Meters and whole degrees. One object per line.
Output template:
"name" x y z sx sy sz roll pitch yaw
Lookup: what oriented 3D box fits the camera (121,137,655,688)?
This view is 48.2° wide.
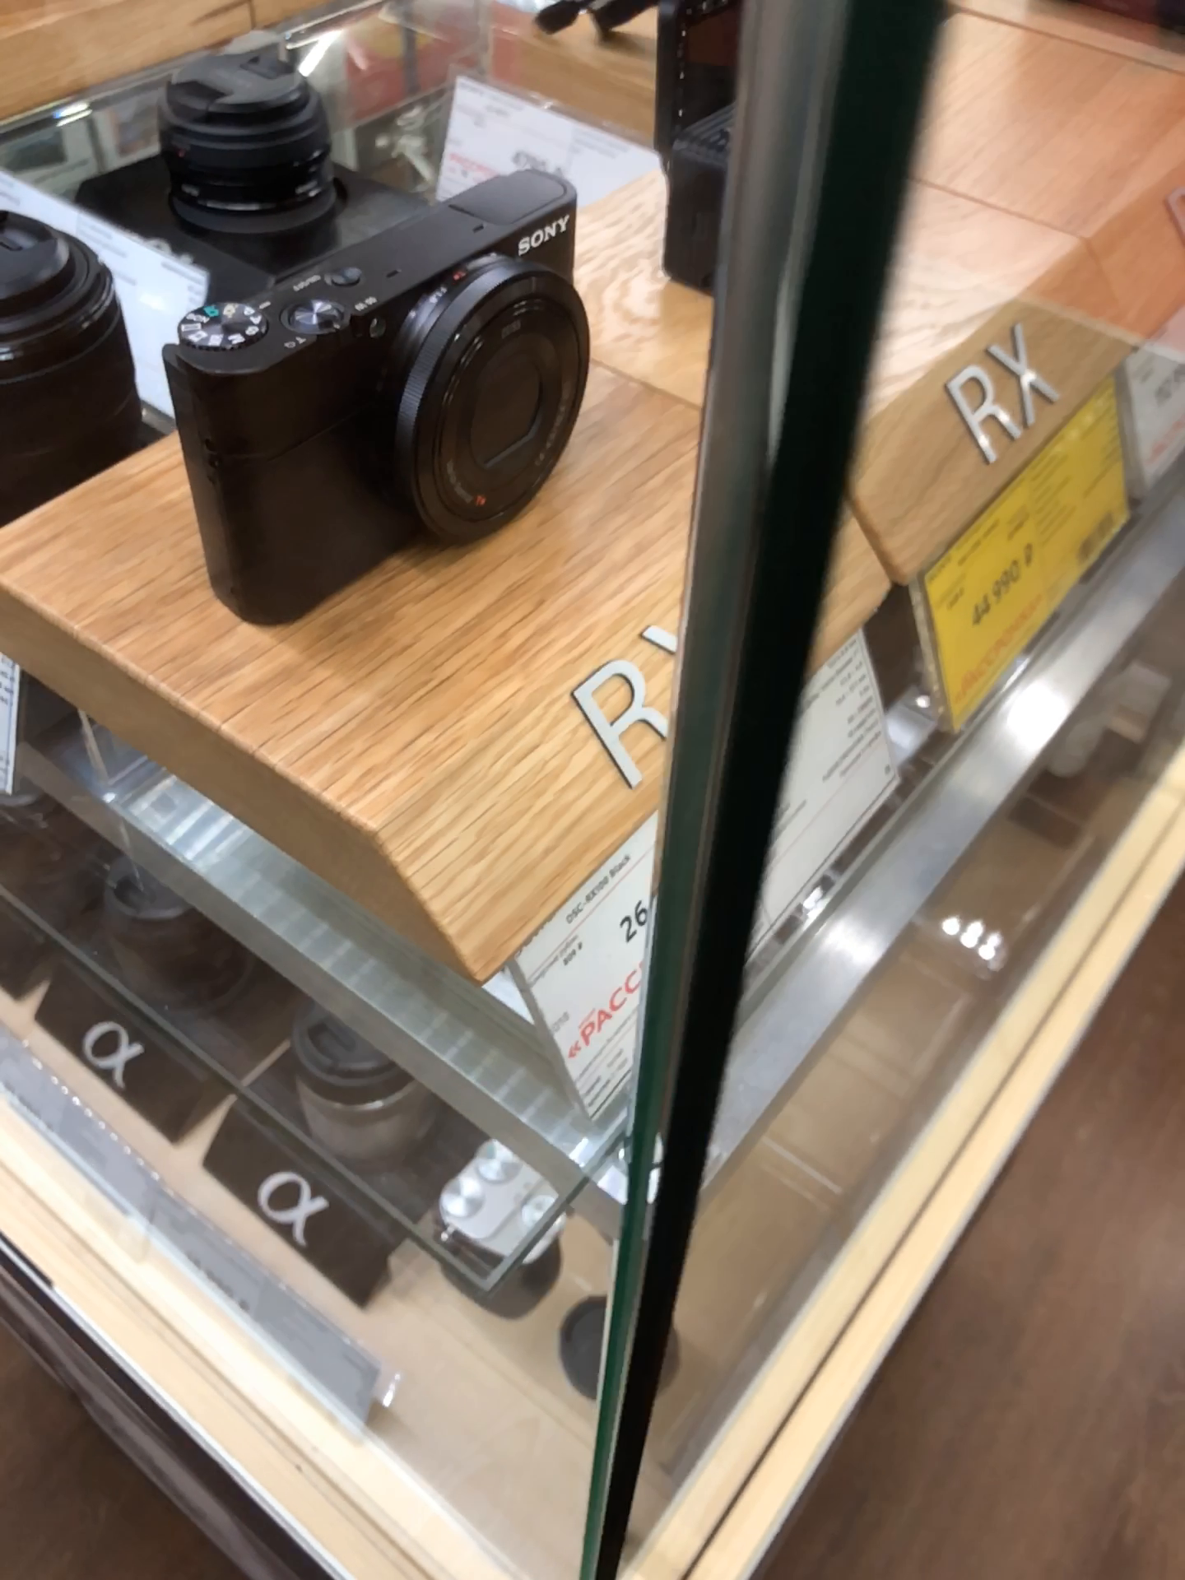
"camera" -0.035 -0.080 0.272 0.037 0.062 0.106 31 54 22
